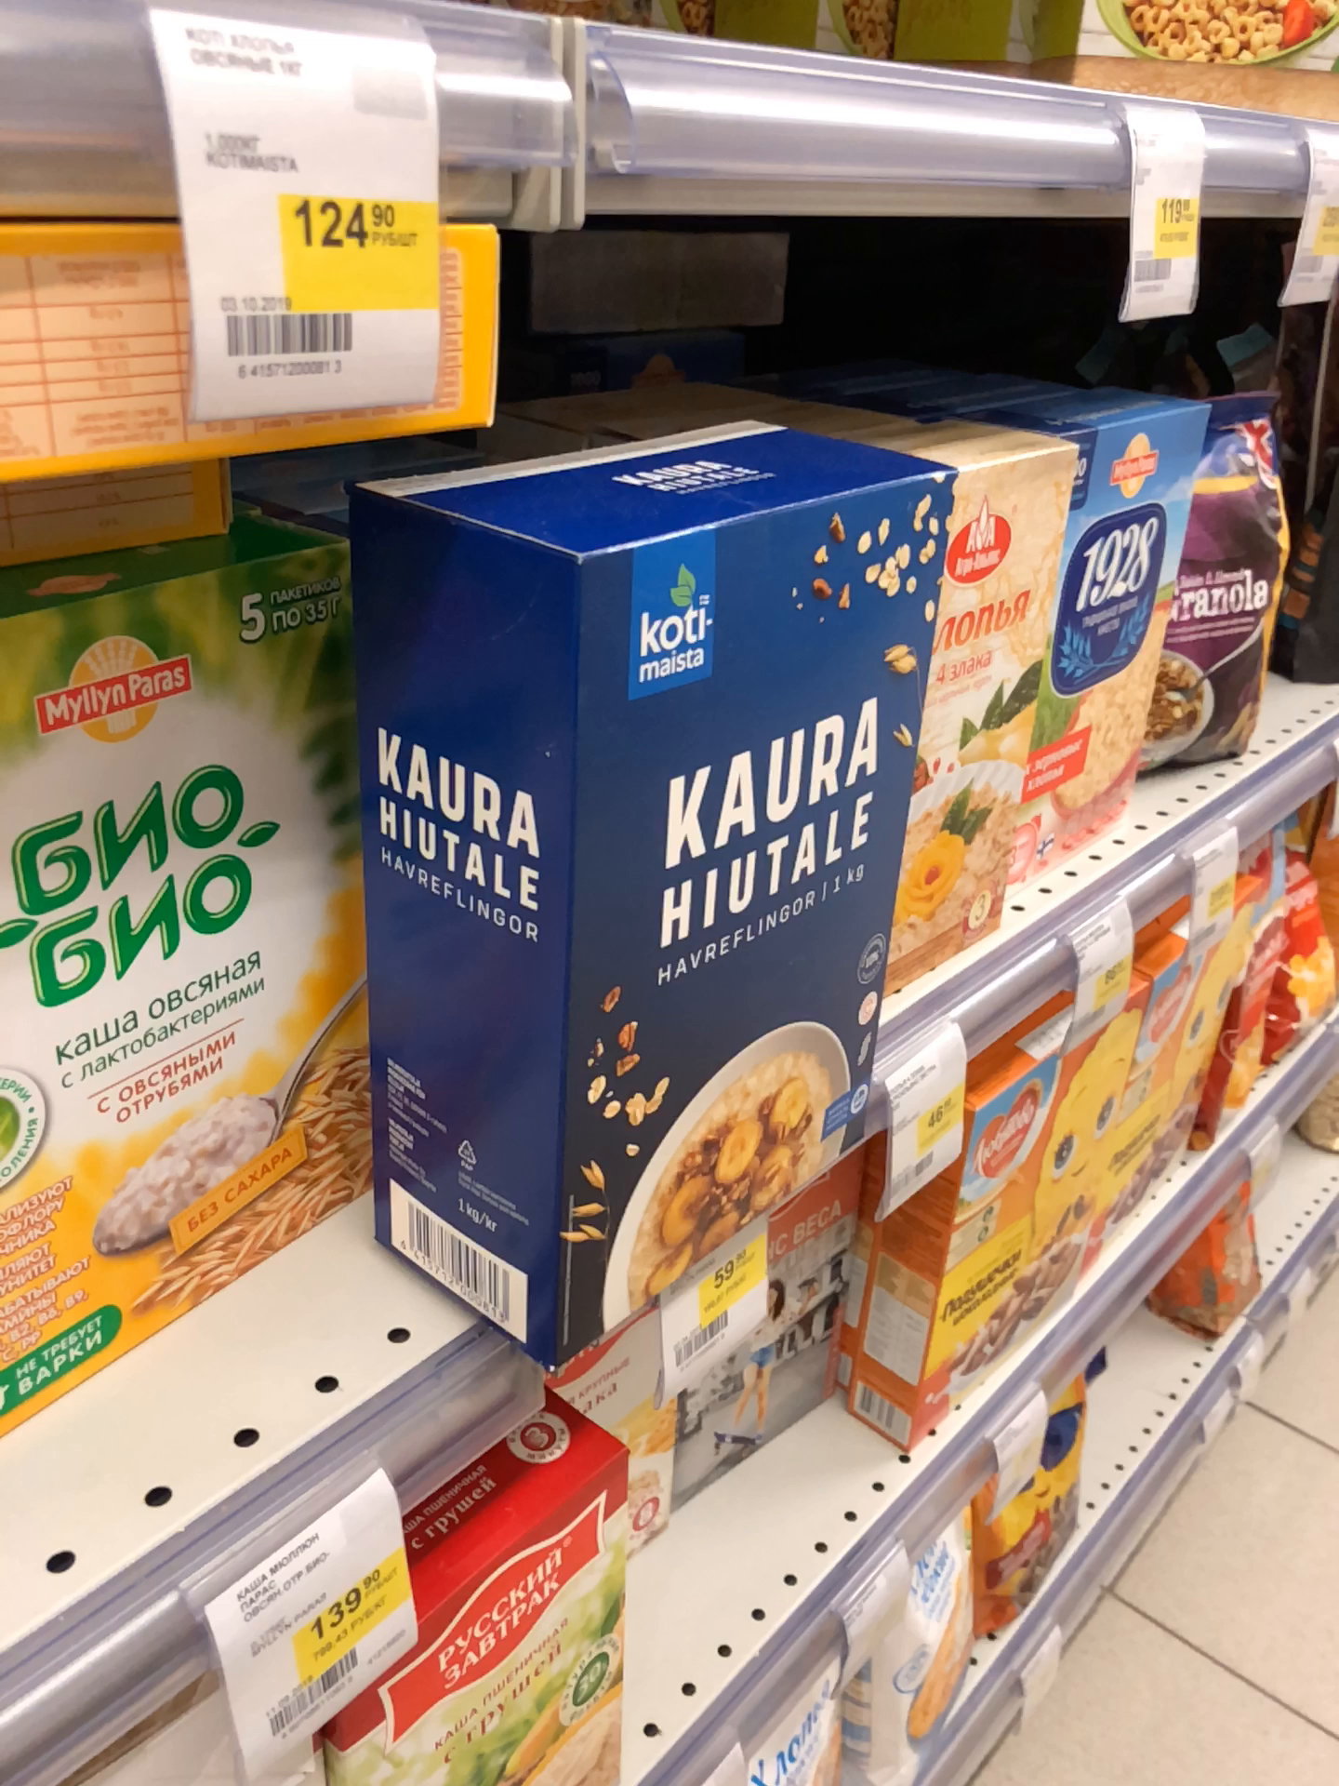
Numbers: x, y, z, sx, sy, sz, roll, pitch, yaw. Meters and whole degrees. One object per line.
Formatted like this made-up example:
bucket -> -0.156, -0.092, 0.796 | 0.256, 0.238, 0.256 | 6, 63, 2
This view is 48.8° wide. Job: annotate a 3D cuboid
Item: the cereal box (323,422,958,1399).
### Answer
cereal box -> -0.006, -0.003, 0.421 | 0.080, 0.229, 0.151 | 23, 33, 35
